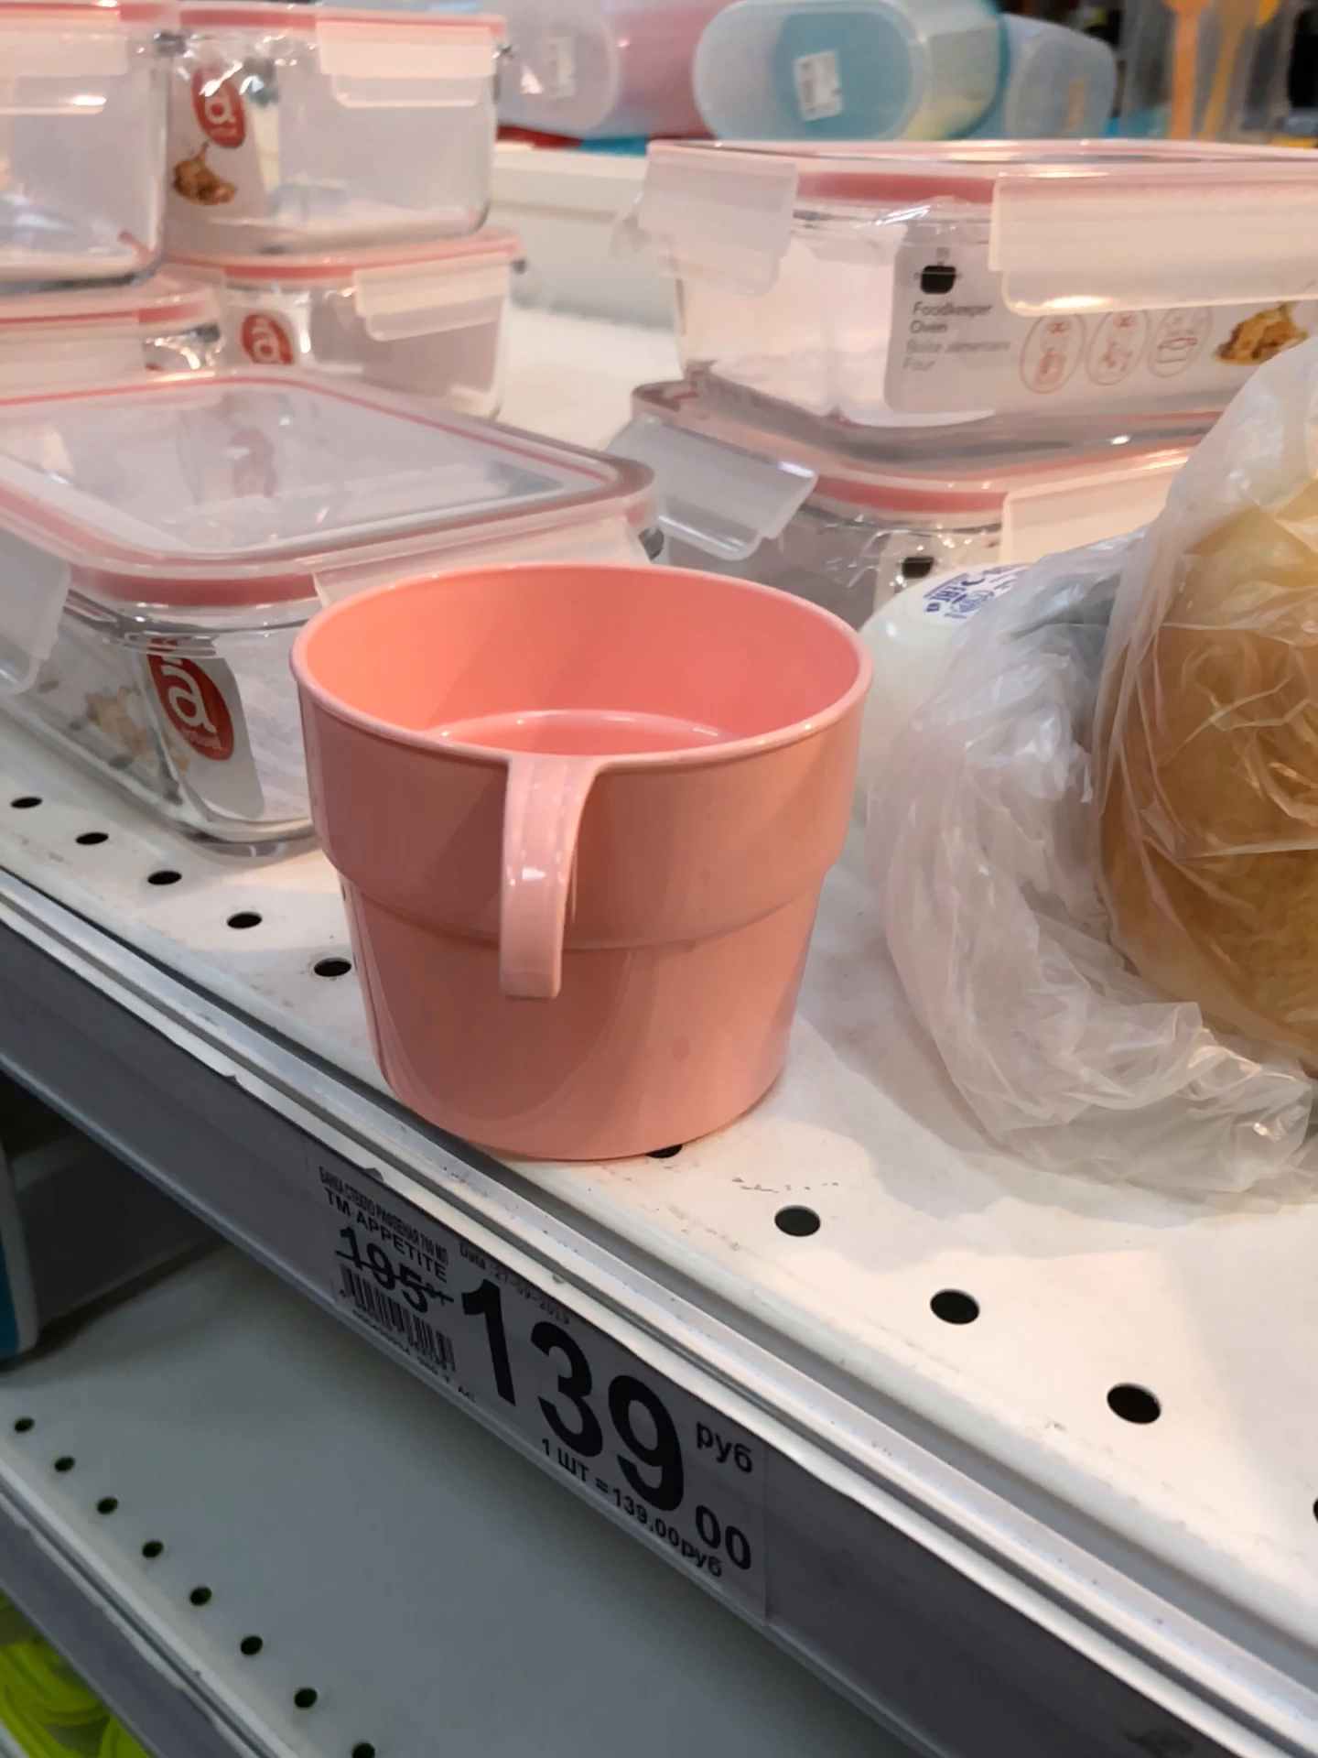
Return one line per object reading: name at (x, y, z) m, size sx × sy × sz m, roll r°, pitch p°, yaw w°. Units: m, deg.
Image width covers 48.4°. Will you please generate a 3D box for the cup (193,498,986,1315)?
cup at (-0.014, -0.006, 0.214) m, size 0.081 × 0.070 × 0.111 m, roll -1°, pitch 29°, yaw -7°
